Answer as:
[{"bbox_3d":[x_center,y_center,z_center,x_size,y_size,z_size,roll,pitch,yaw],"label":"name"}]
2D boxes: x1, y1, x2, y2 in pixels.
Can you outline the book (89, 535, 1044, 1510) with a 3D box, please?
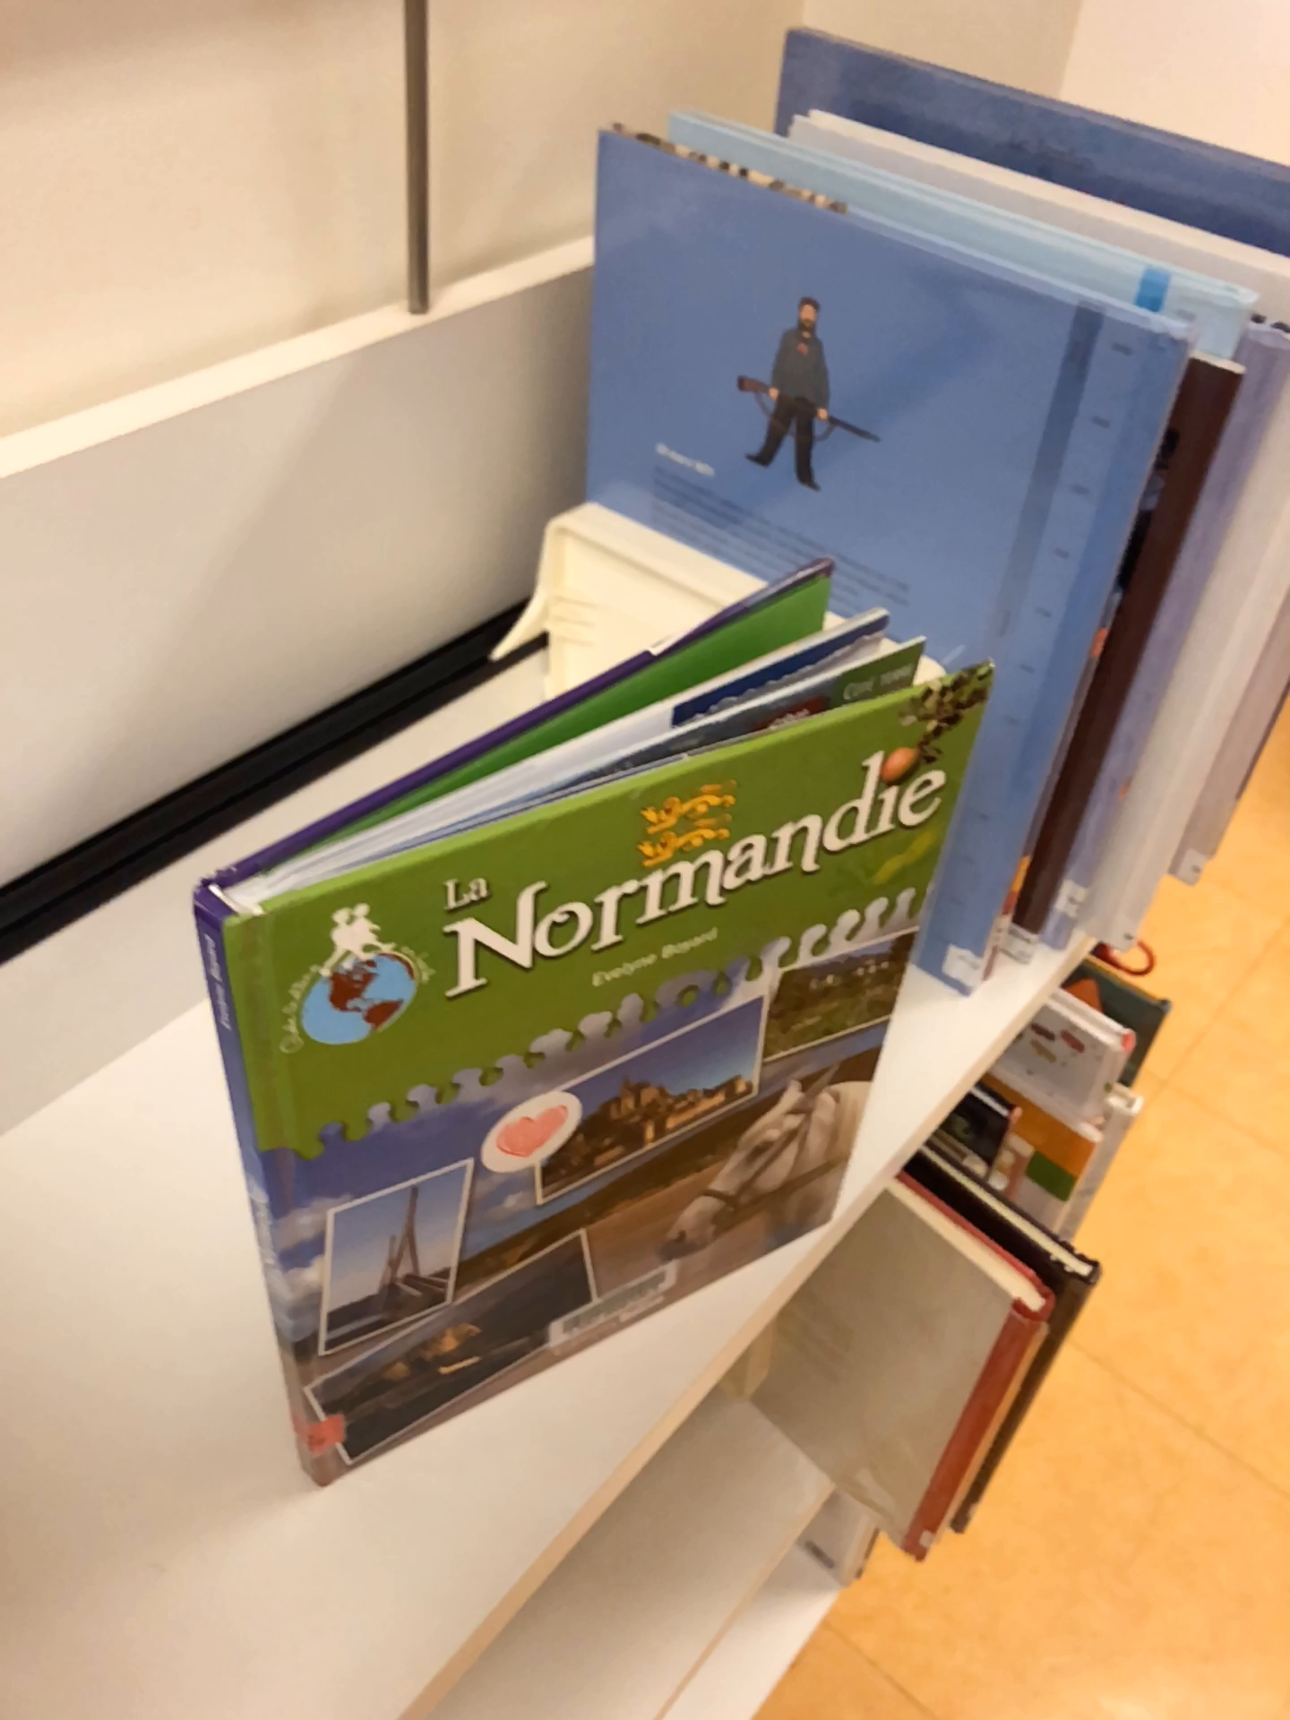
[{"bbox_3d":[-0.022,0.053,0.413,0.208,0.248,0.077,-17,47,-23],"label":"book"}]
